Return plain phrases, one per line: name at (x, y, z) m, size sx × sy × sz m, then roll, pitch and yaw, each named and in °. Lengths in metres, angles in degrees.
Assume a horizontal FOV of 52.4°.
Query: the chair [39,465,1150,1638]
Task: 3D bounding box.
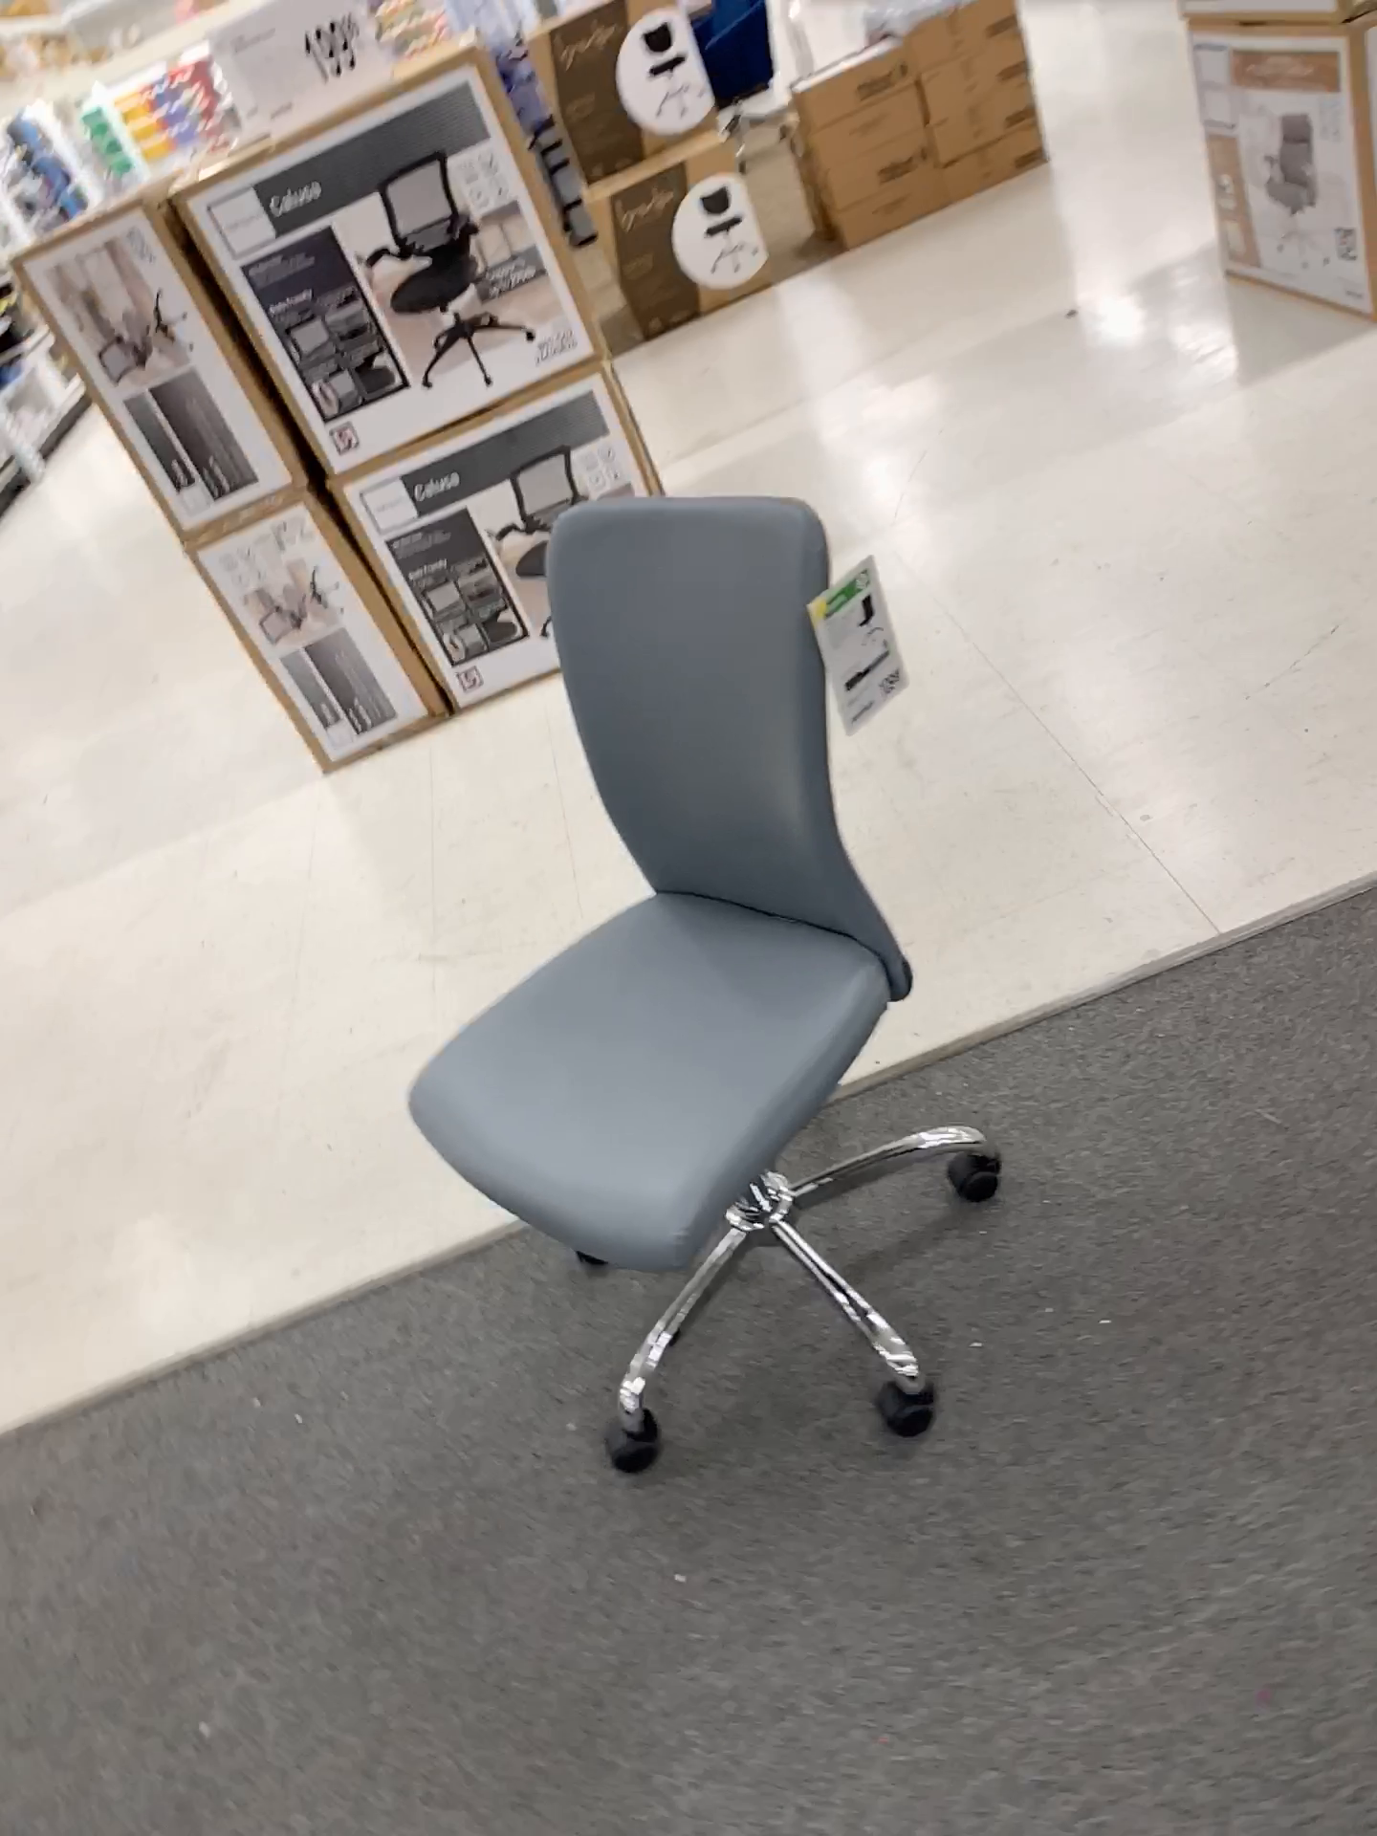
chair at (-0.033, 0.098, 1.464) m, size 0.603 × 0.875 × 0.651 m, roll 18°, pitch 53°, yaw 46°
